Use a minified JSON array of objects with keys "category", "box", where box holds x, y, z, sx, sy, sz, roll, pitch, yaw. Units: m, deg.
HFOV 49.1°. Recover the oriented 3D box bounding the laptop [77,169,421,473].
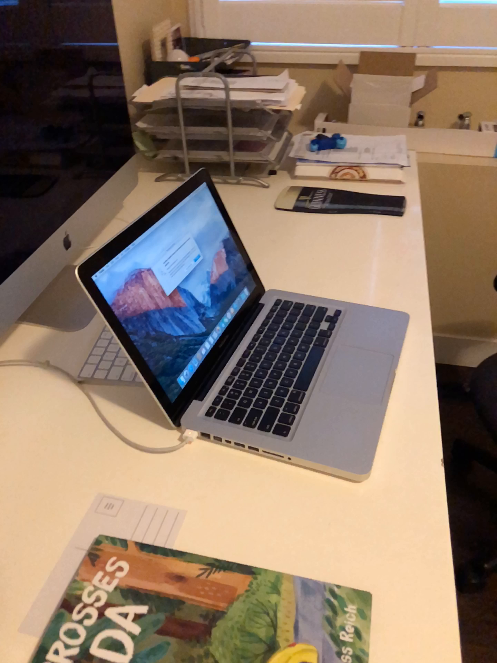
[{"category":"laptop","box":[0.022,-0.043,0.687,0.312,0.187,0.304,12,39,18]}]
